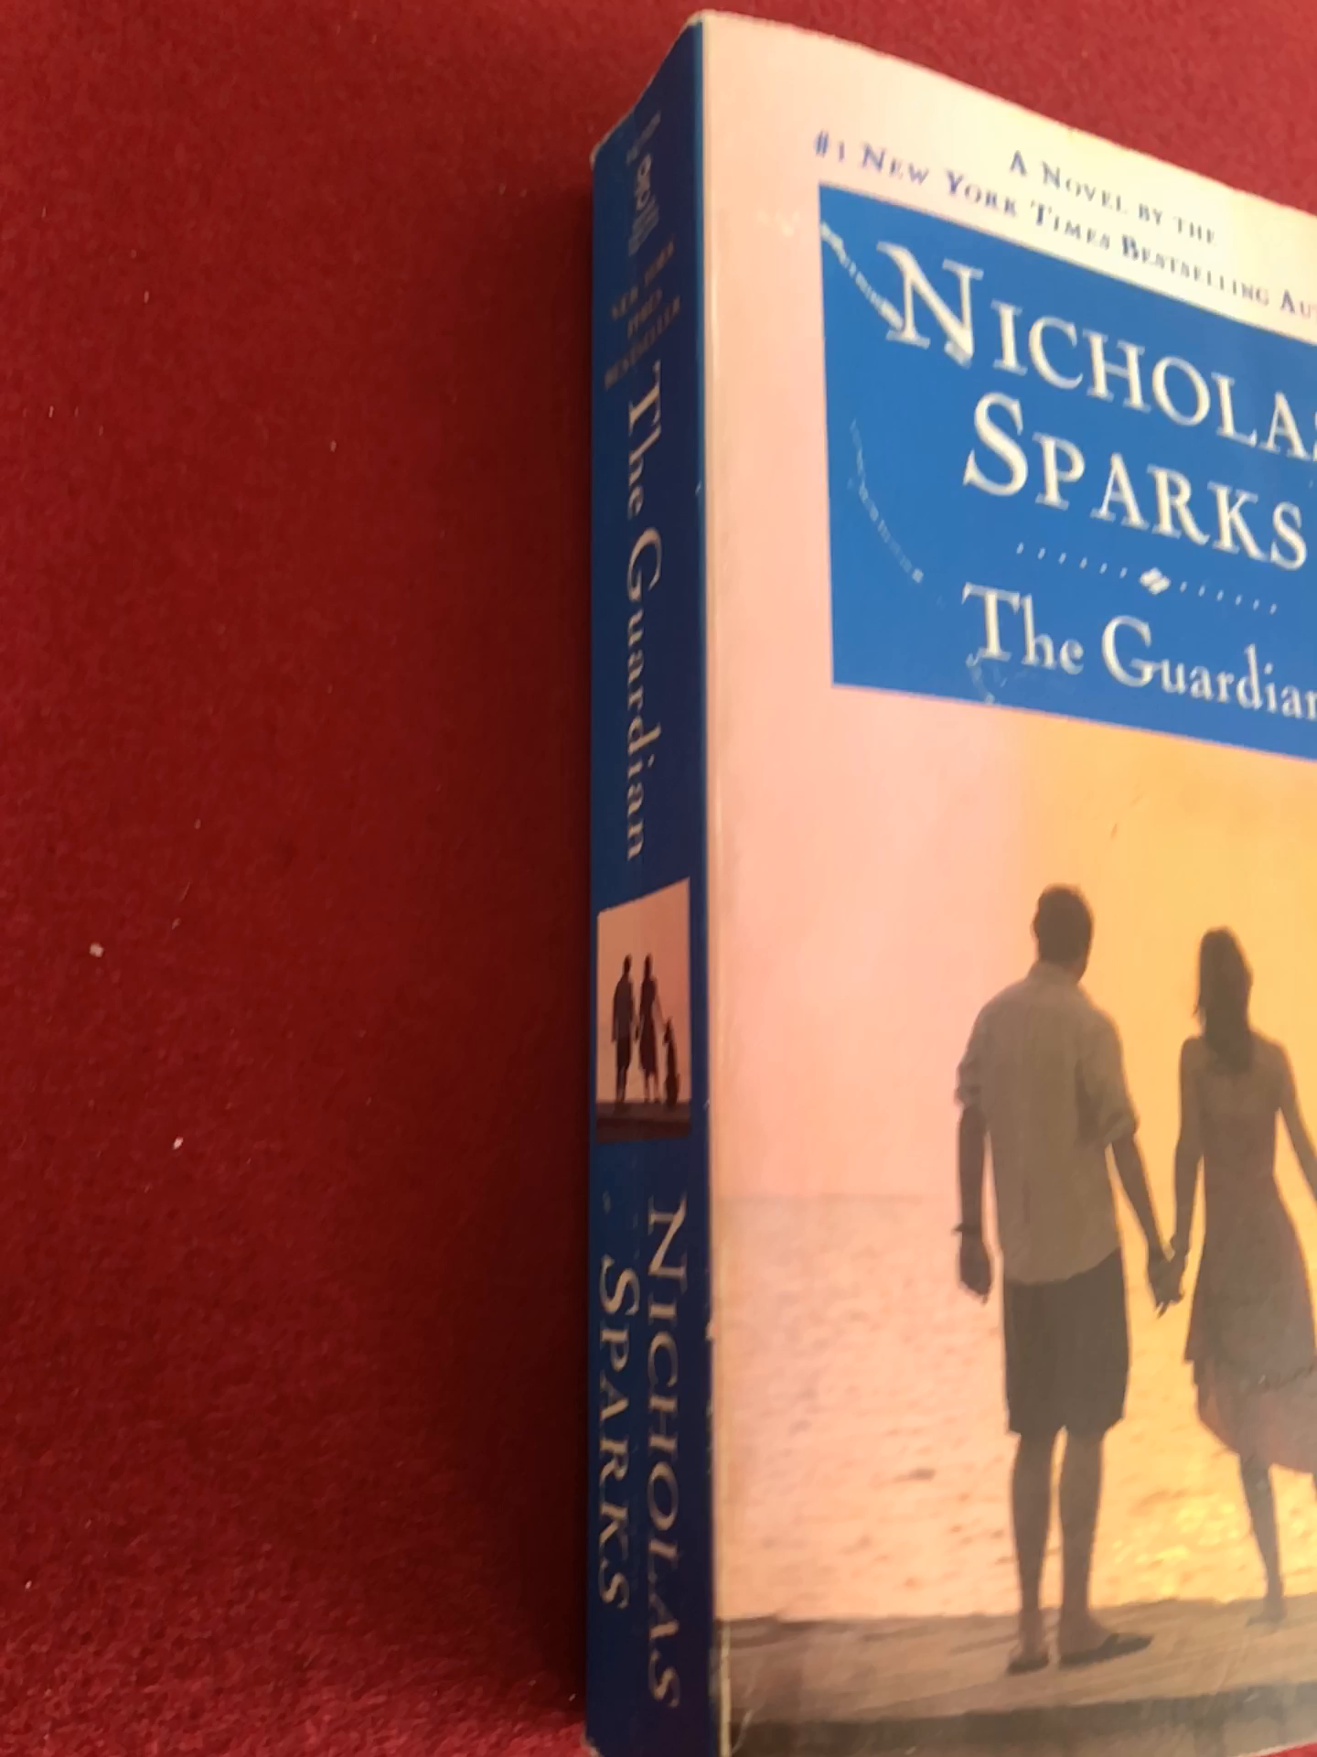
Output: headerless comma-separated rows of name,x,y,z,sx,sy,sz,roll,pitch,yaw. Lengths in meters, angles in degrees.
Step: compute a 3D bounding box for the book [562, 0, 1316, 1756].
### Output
book,0.048,0.001,0.159,0.110,0.030,0.170,7,73,-24
